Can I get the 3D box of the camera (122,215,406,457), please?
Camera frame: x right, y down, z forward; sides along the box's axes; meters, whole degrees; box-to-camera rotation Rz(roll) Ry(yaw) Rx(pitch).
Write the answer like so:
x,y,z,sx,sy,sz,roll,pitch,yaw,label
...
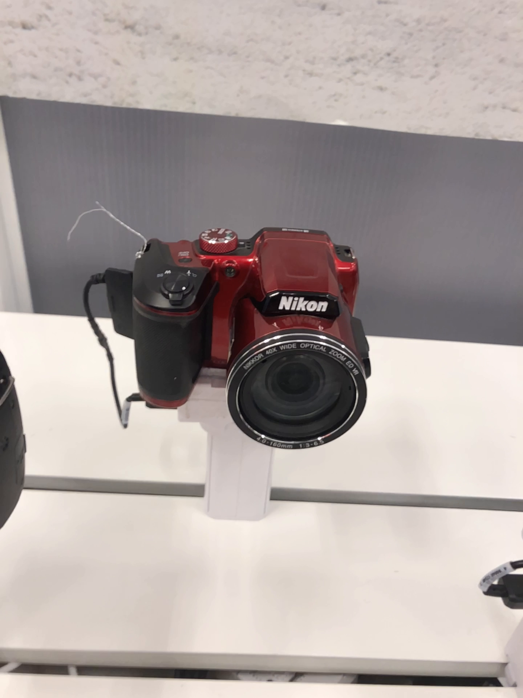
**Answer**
x,y,z,sx,sy,sz,roll,pitch,yaw,label
-0.002,-0.008,0.280,0.110,0.073,0.085,4,35,-4,camera
